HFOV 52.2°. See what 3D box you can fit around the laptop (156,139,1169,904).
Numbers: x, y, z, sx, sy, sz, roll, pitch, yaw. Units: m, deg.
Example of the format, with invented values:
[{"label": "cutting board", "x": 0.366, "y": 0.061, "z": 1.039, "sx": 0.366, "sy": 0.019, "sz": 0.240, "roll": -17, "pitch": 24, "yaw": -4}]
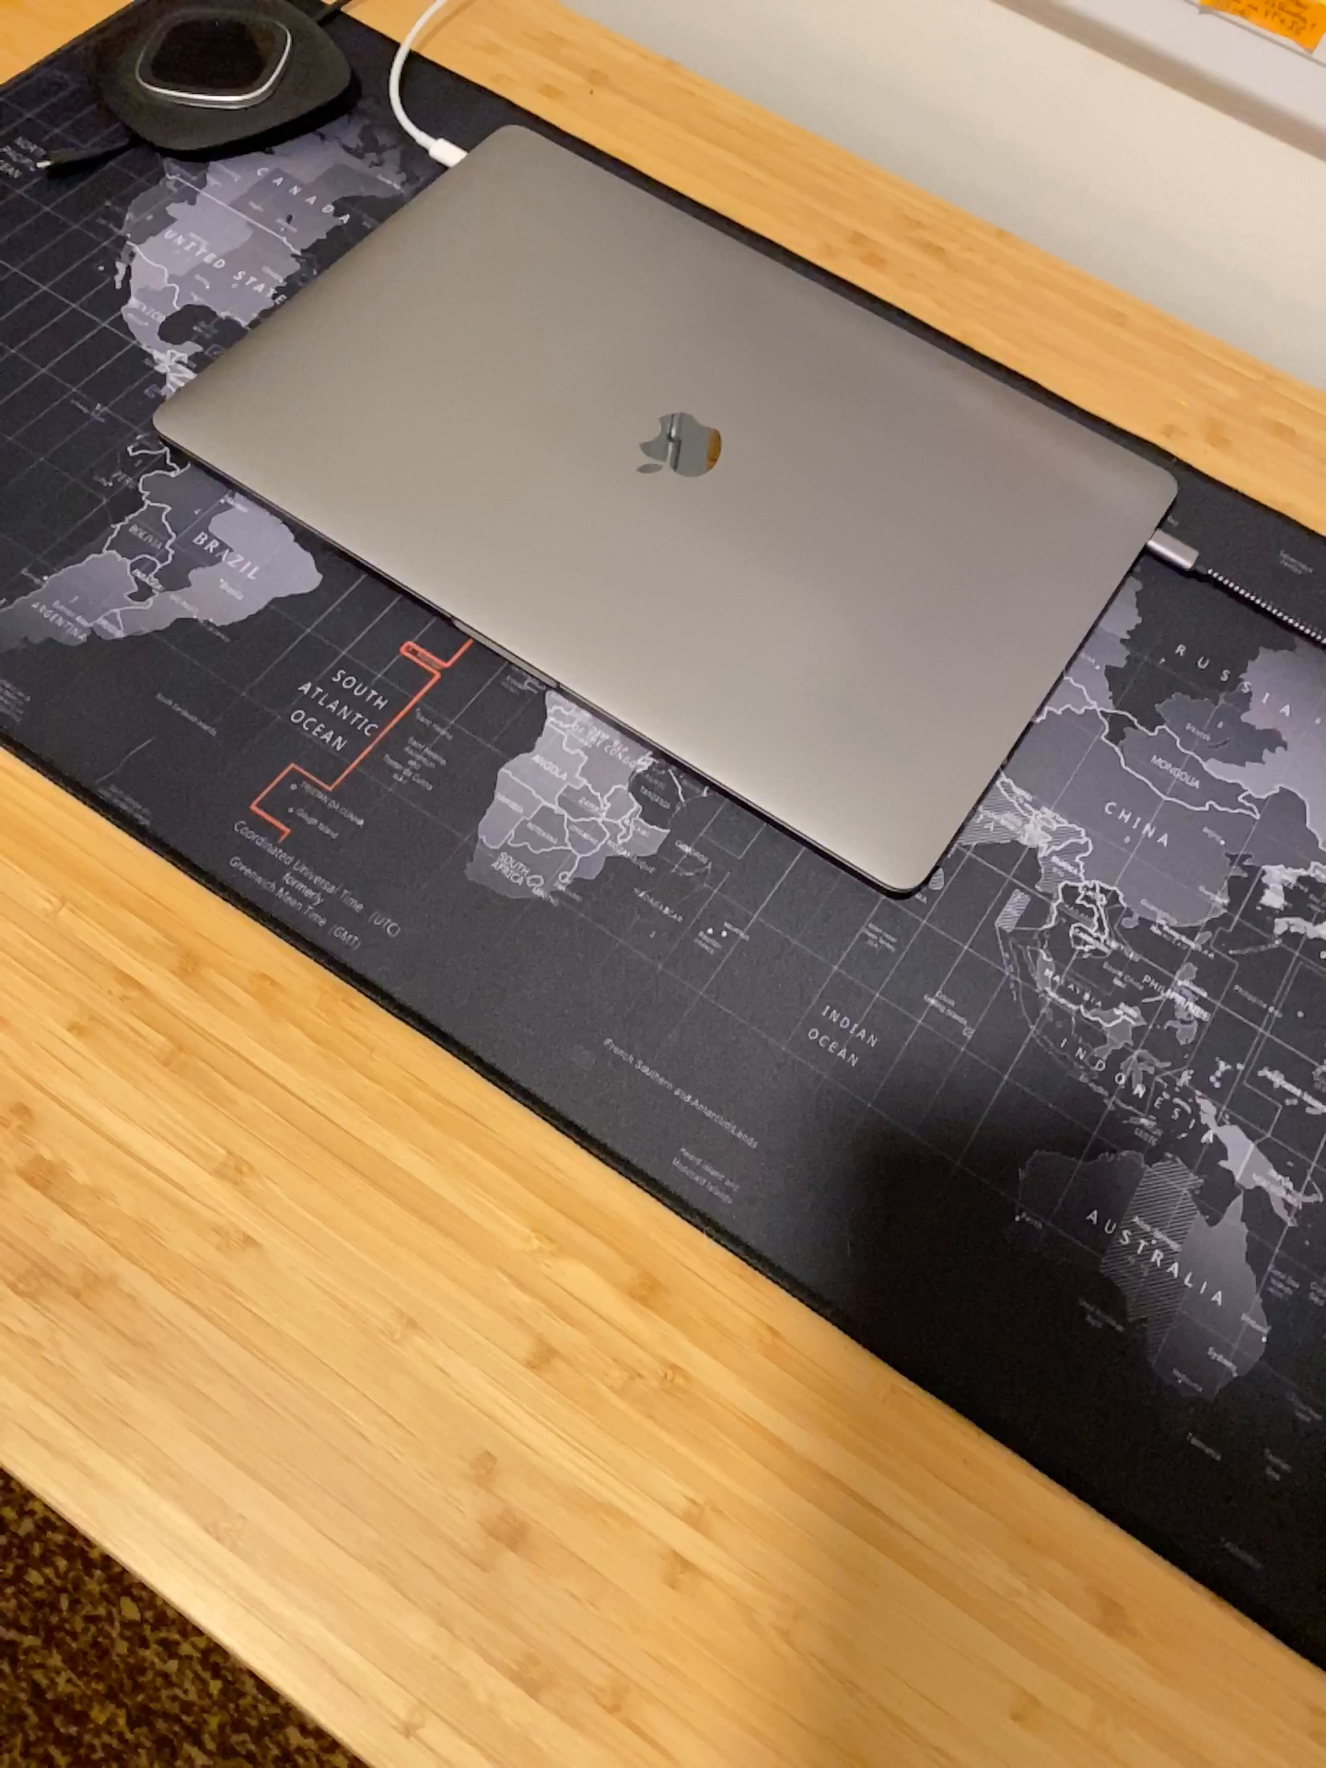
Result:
[{"label": "laptop", "x": 0.005, "y": -0.166, "z": 0.534, "sx": 0.336, "sy": 0.002, "sz": 0.227, "roll": 33, "pitch": 65, "yaw": 12}]
